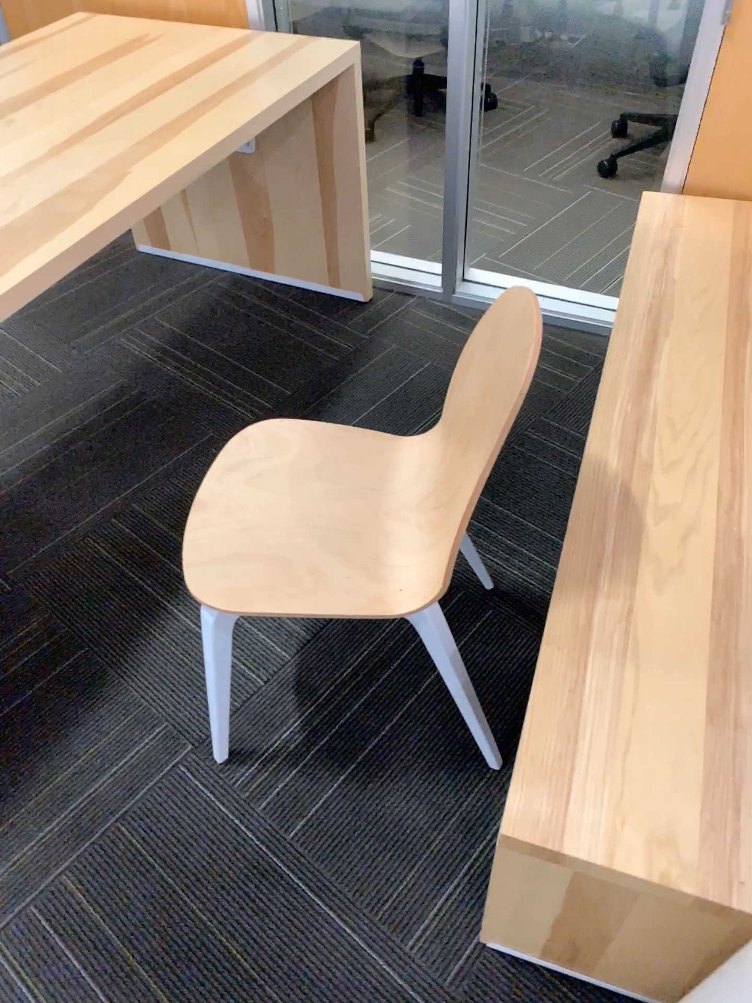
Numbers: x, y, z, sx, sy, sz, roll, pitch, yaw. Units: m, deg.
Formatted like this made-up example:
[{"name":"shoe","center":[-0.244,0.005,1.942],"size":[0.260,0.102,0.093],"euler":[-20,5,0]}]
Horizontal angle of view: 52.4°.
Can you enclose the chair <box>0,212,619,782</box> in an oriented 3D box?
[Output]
[{"name":"chair","center":[-0.064,0.035,1.232],"size":[0.650,0.766,0.523],"euler":[-1,47,2]}]
